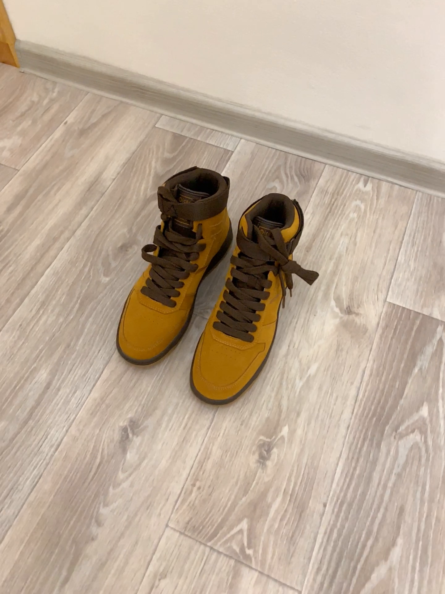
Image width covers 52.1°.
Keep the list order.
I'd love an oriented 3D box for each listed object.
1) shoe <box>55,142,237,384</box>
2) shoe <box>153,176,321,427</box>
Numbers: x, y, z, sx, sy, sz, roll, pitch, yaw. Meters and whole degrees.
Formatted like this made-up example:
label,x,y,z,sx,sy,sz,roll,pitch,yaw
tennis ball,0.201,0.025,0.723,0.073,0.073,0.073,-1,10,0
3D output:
label,x,y,z,sx,sy,sz,roll,pitch,yaw
shoe,-0.082,-0.049,0.612,0.101,0.140,0.280,20,61,10
shoe,0.026,0.002,0.594,0.101,0.140,0.280,20,61,10
